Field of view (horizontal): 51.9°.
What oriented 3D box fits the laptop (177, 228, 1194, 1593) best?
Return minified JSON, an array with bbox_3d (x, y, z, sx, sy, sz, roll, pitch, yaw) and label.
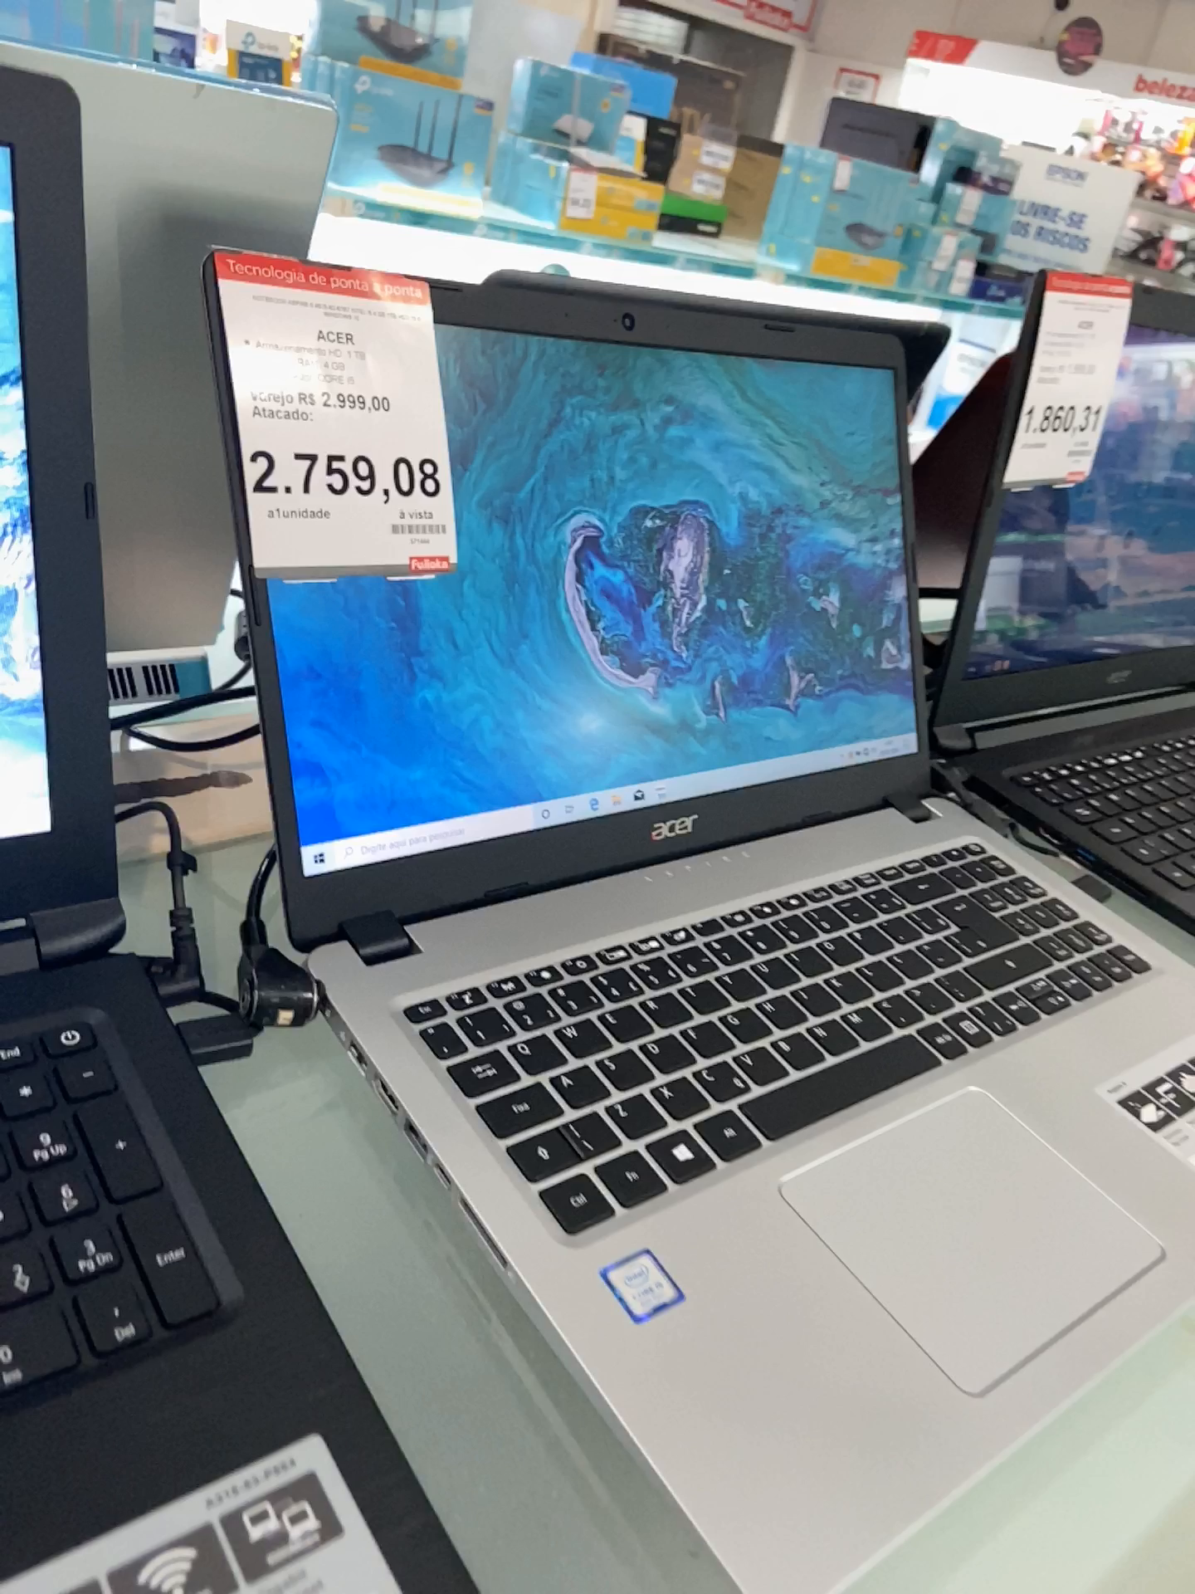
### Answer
[{"bbox_3d":[0.093,-0.031,0.438,0.352,0.198,0.363,-10,38,-37],"label":"laptop"}]
